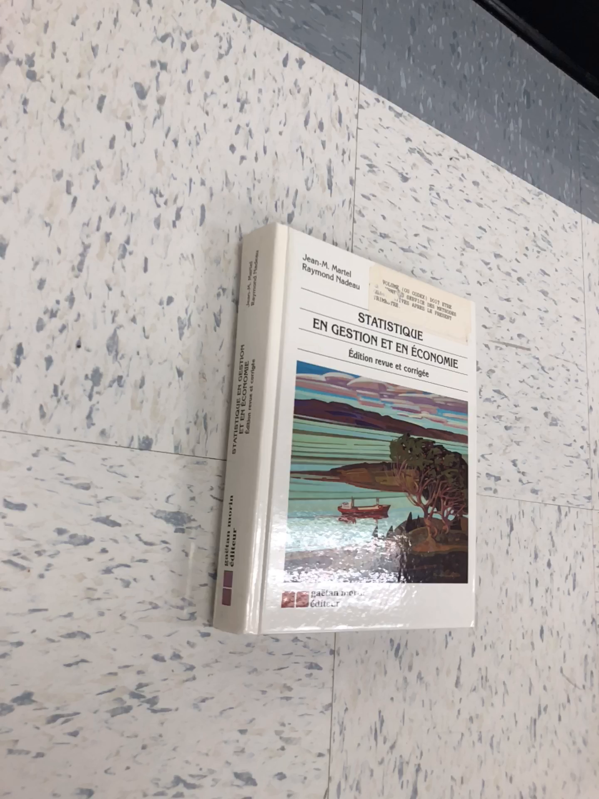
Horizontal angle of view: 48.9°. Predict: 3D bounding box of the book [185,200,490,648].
[{"bbox_3d":[0.037,0.024,0.426,0.191,0.060,0.240,12,75,-35],"label":"book"}]
